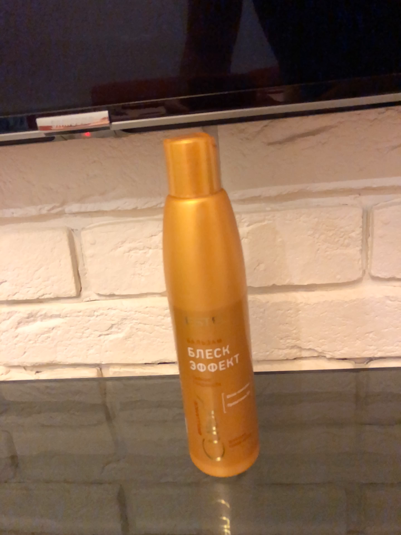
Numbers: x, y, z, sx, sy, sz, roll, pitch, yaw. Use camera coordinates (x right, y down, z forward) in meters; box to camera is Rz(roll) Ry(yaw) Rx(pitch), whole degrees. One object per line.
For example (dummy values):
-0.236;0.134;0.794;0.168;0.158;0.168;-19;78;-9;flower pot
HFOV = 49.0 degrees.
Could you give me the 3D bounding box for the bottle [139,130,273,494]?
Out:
0.008;0.029;0.255;0.050;0.199;0.060;-5;20;2;bottle
